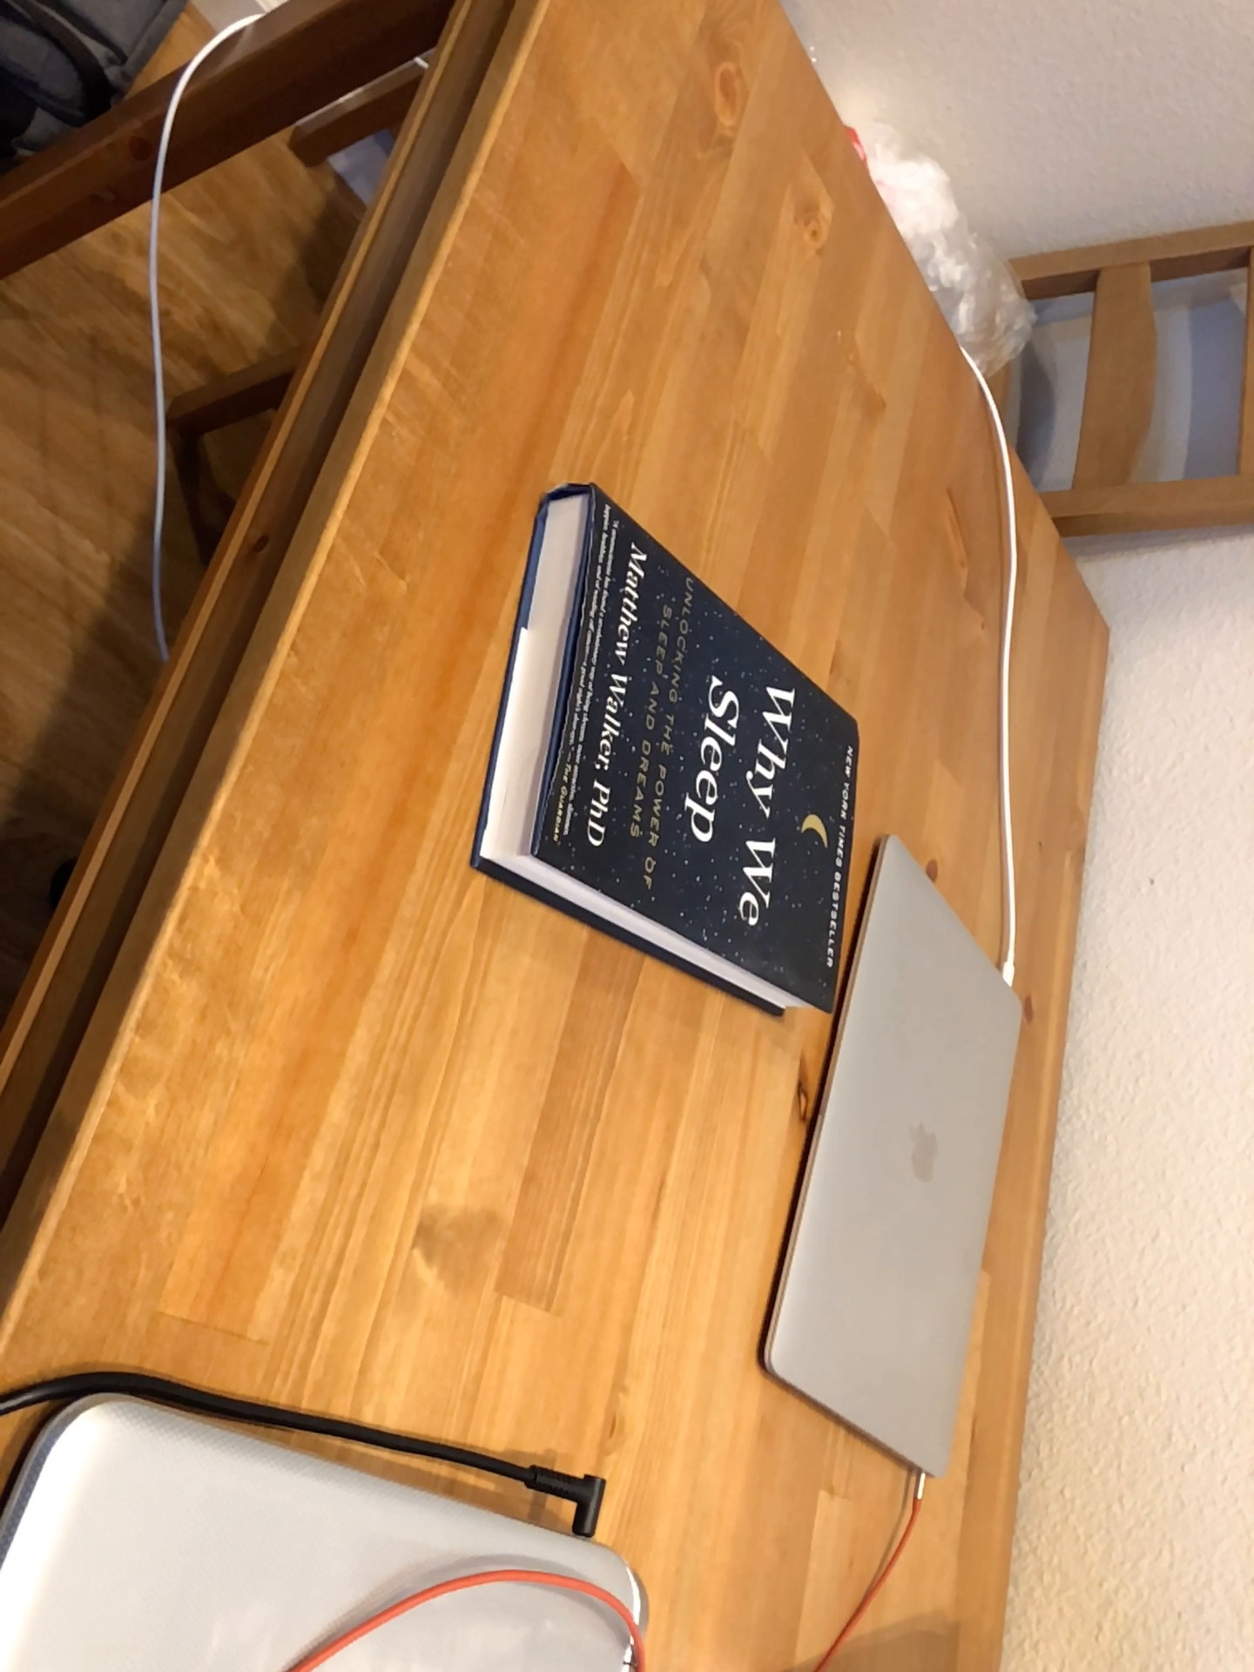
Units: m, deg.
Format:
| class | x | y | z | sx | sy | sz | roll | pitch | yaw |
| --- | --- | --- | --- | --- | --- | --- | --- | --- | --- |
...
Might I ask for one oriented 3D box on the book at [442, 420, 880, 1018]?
| class | x | y | z | sx | sy | sz | roll | pitch | yaw |
| --- | --- | --- | --- | --- | --- | --- | --- | --- | --- |
| book | 0.031 | -0.034 | 0.598 | 0.242 | 0.040 | 0.170 | 31 | 62 | -49 |
